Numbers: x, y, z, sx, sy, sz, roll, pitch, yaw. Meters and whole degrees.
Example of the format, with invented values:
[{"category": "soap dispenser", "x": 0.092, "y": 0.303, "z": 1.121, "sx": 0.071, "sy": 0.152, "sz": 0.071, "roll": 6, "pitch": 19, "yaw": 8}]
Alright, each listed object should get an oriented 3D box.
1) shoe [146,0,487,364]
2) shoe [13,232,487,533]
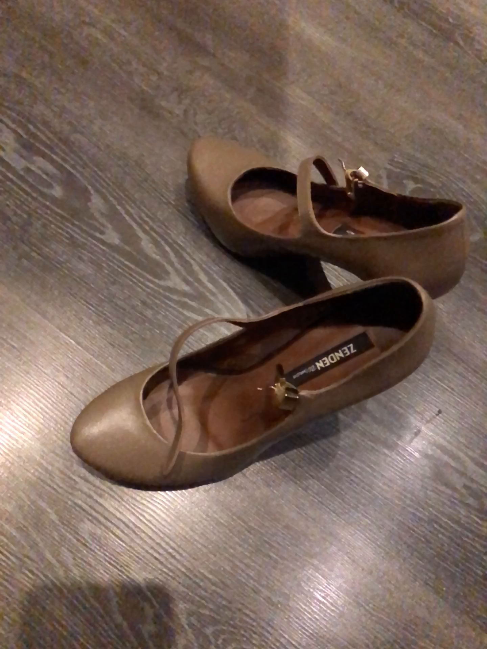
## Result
[{"category": "shoe", "x": 0.046, "y": -0.093, "z": 0.362, "sx": 0.210, "sy": 0.150, "sz": 0.090, "roll": 40, "pitch": 70, "yaw": 7}, {"category": "shoe", "x": 0.004, "y": 0.041, "z": 0.306, "sx": 0.210, "sy": 0.150, "sz": 0.090, "roll": -12, "pitch": 72, "yaw": -12}]
